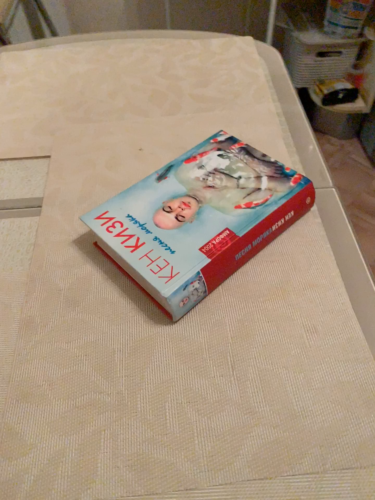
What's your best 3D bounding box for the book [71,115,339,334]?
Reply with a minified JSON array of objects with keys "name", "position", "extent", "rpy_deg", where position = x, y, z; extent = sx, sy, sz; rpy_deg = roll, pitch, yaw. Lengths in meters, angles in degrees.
[{"name":"book","position":[0.020,-0.043,0.384],"extent":[0.211,0.040,0.151],"rpy_deg":[-38,59,-24]}]
